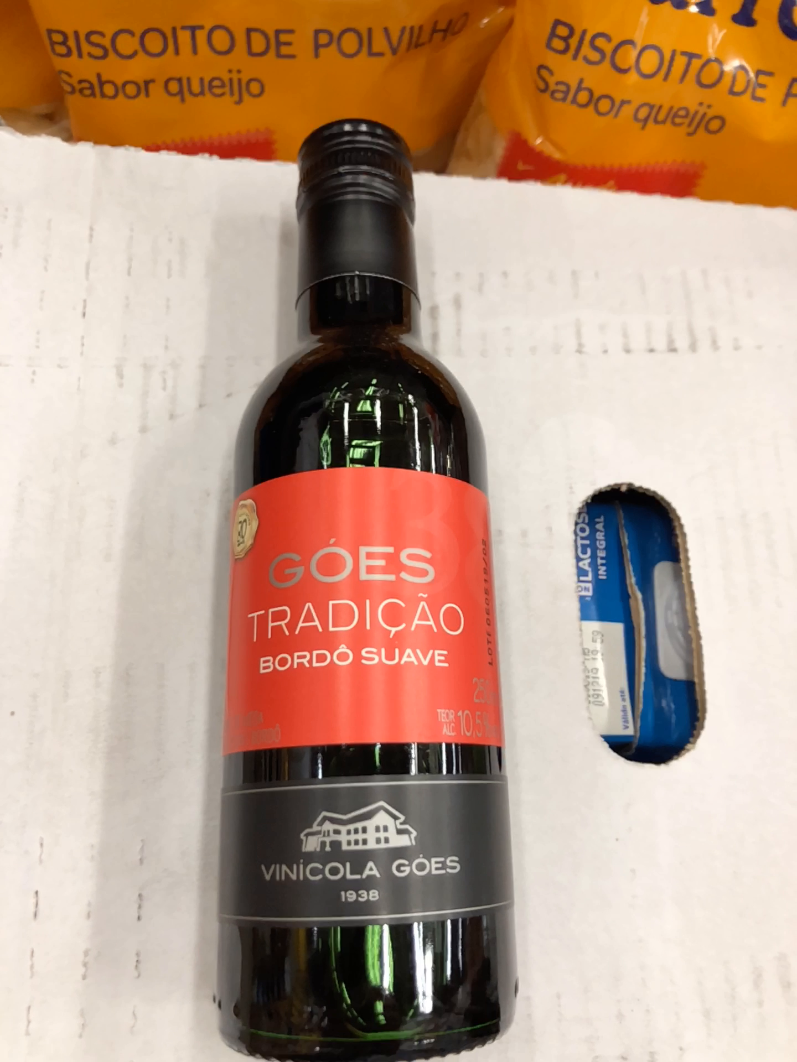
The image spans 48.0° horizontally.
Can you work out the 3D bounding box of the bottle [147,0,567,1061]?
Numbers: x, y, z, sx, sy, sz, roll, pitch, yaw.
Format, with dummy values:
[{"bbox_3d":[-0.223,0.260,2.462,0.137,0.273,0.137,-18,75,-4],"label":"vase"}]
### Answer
[{"bbox_3d":[-0.016,-0.016,0.182,0.060,0.050,0.210,-1,72,-10],"label":"bottle"}]
